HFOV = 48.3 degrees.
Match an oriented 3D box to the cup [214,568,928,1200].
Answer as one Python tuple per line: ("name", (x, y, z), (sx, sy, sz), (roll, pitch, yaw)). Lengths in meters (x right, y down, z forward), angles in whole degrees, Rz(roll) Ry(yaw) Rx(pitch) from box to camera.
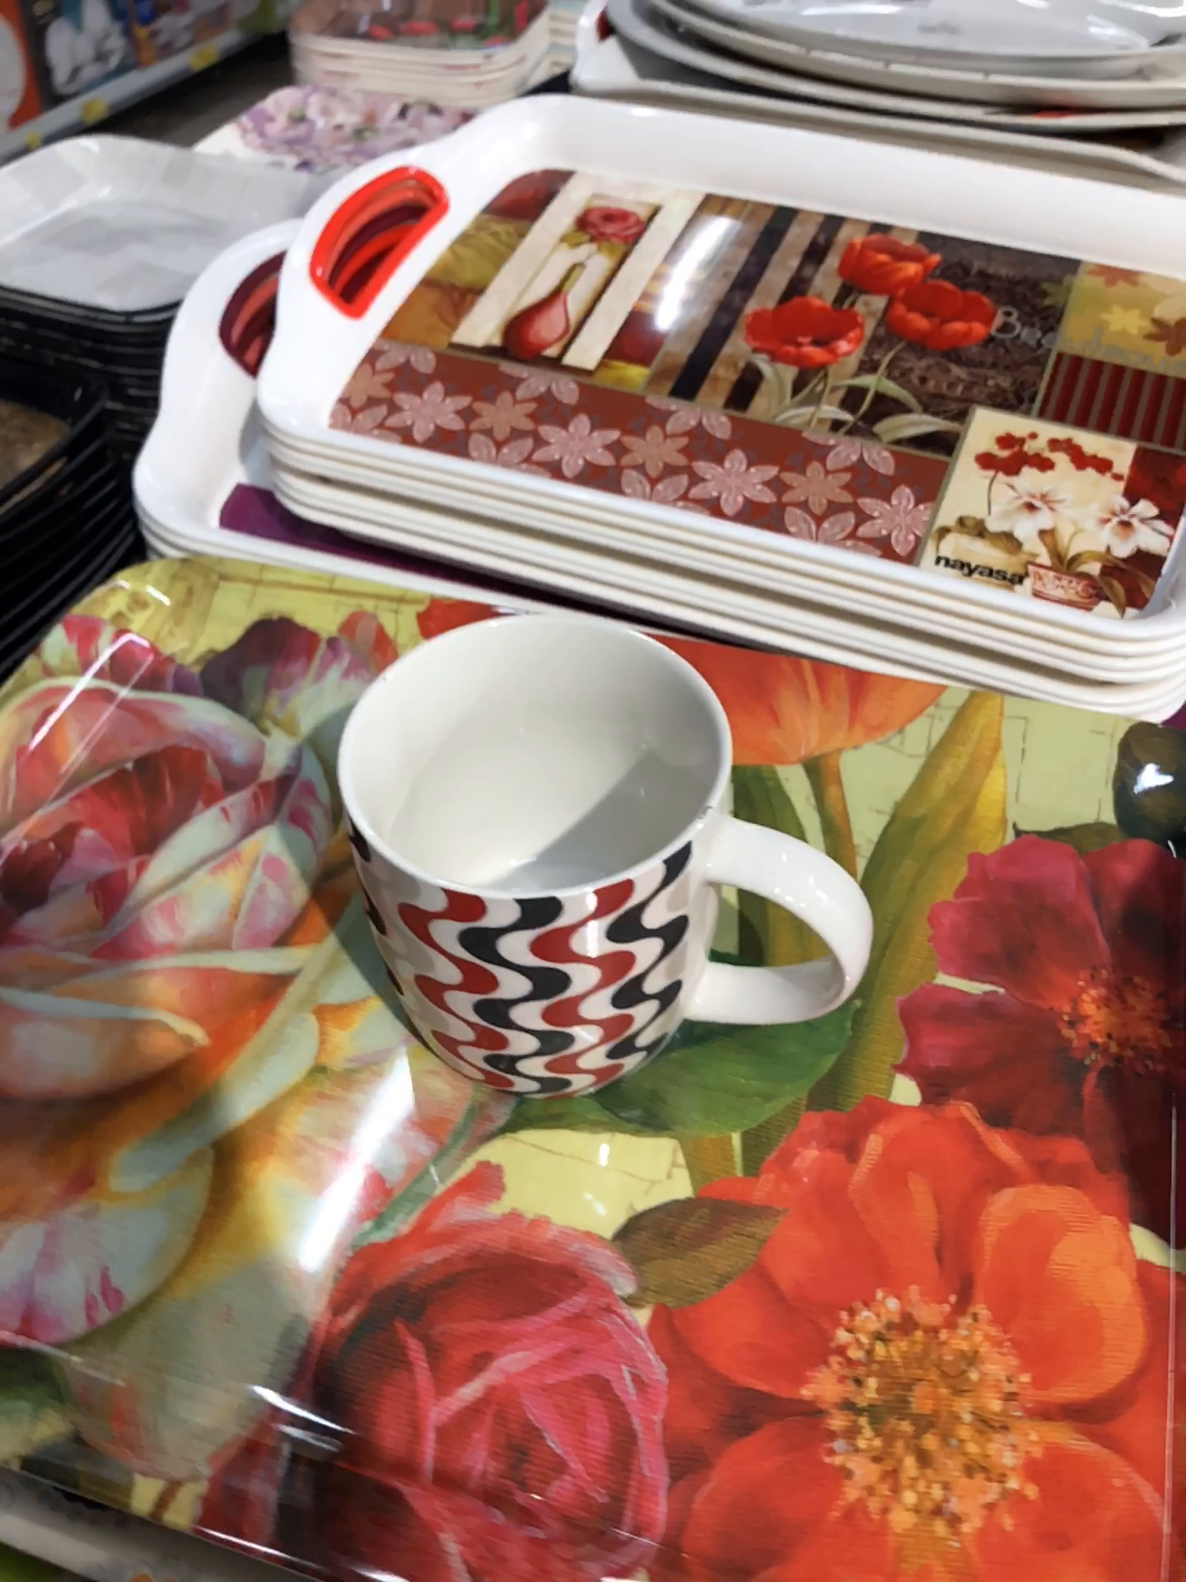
("cup", (0.000, 0.018, 0.306), (0.130, 0.079, 0.091), (12, 46, 10))
